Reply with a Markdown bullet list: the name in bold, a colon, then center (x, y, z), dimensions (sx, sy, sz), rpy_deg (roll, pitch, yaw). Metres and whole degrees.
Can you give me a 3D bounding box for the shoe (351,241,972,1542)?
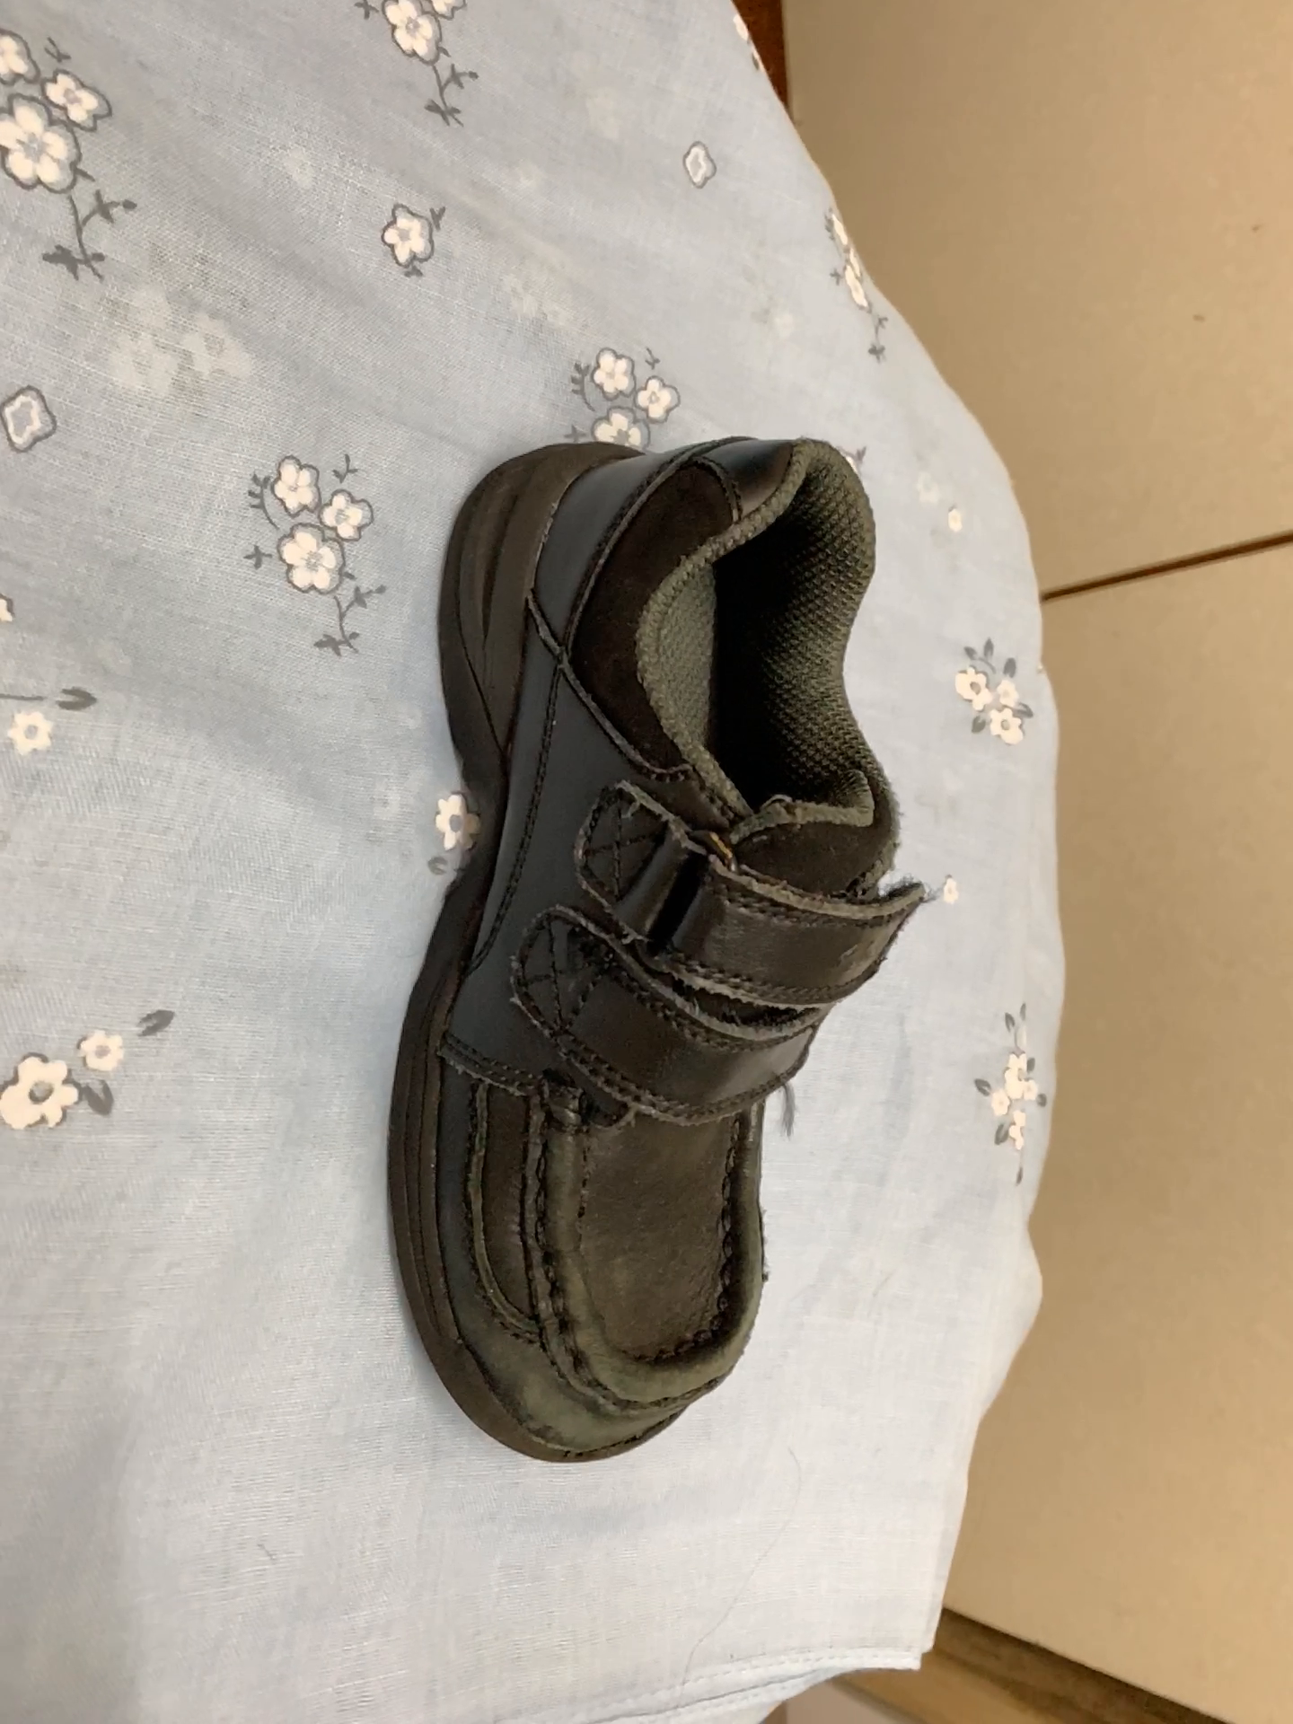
- **shoe**: center (0.005, 0.005, 0.247), dimensions (0.079, 0.073, 0.190), rpy_deg (9, 80, -41)
